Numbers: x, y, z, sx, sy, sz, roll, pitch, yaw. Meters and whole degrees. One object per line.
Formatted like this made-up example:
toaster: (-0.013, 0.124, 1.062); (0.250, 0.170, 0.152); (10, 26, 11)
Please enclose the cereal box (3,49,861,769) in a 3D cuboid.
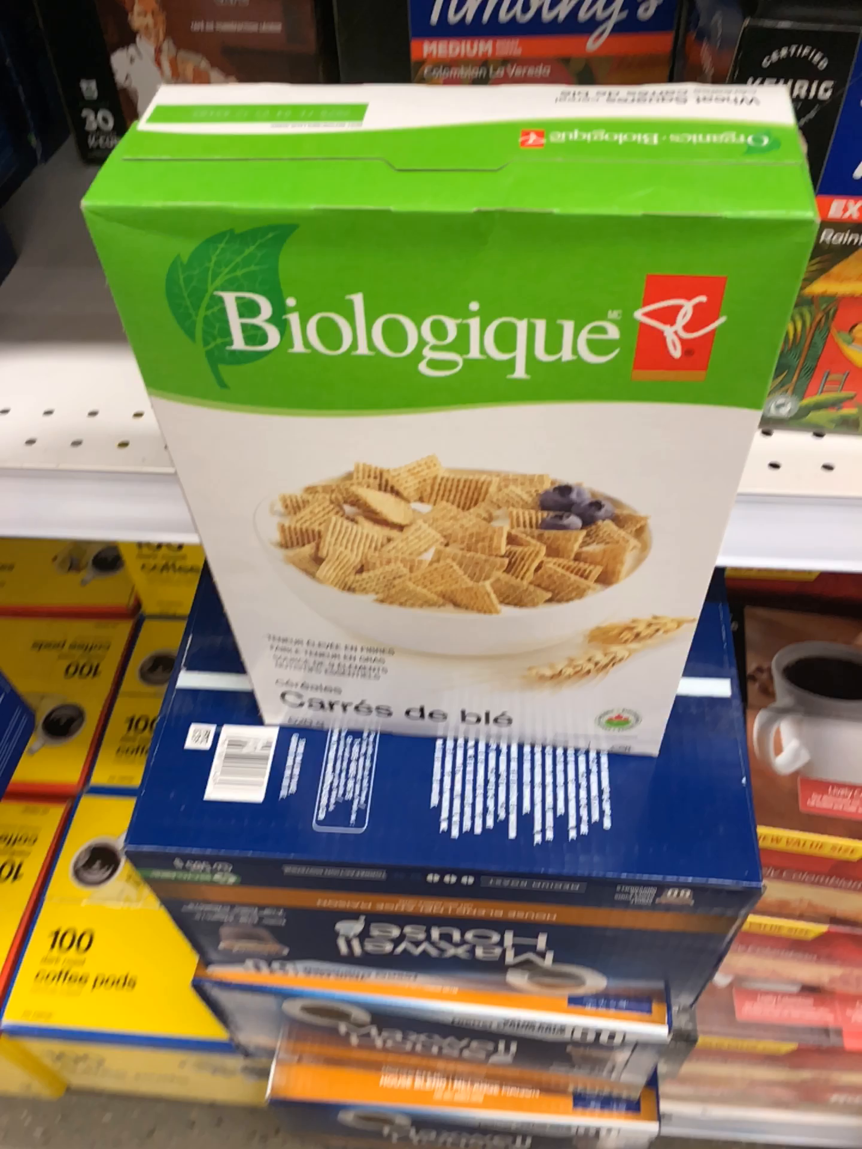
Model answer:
cereal box: (0.008, -0.032, 0.363); (0.210, 0.289, 0.070); (4, 53, 7)
